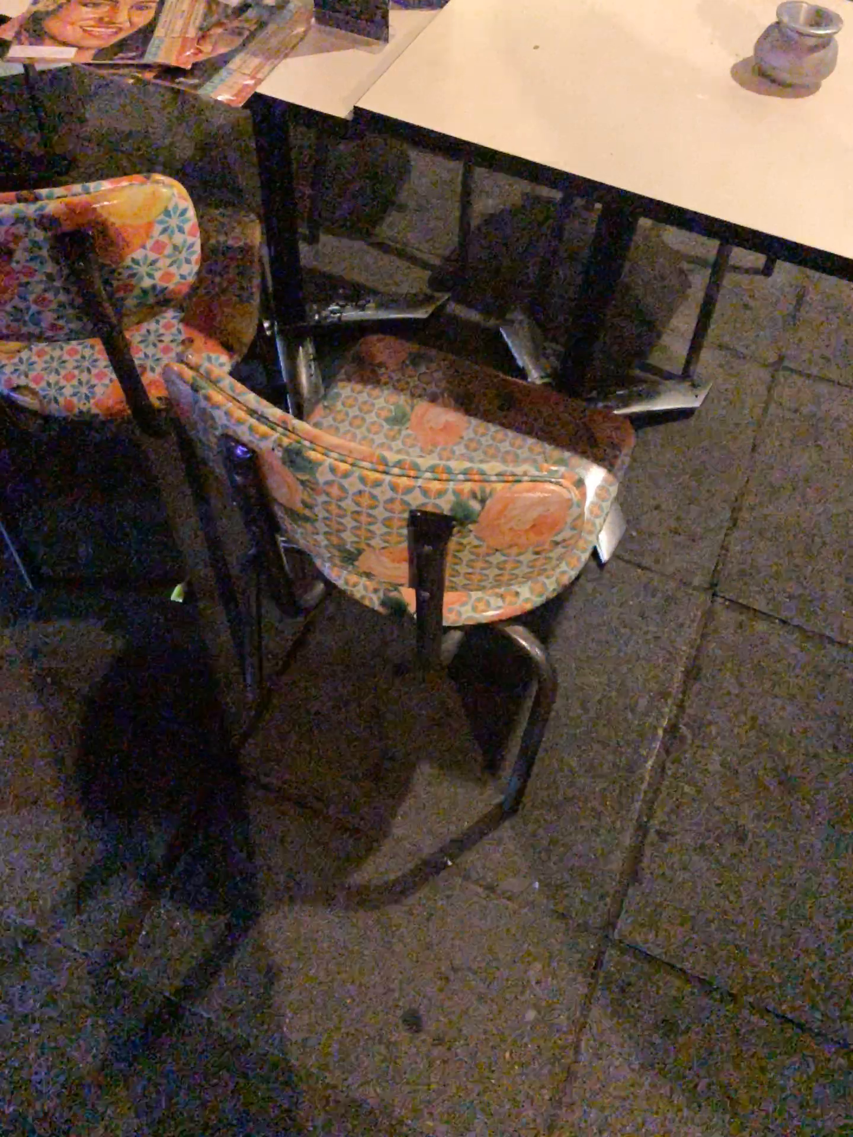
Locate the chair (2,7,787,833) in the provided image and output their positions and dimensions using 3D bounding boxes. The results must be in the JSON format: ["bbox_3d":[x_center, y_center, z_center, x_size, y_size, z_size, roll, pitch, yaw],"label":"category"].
[{"bbox_3d":[0.005,-0.131,1.069,0.520,0.695,0.574,20,60,9],"label":"chair"}]
